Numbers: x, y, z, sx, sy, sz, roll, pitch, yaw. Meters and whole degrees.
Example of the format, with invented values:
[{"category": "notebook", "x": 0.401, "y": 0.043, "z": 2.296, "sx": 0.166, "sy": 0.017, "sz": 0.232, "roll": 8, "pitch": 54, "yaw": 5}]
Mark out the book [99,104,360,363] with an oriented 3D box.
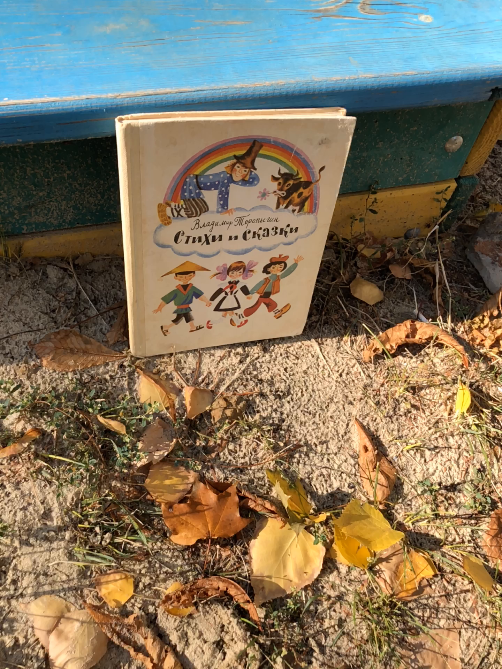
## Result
[{"category": "book", "x": -0.020, "y": -0.072, "z": 0.448, "sx": 0.178, "sy": 0.213, "sz": 0.024, "roll": -8, "pitch": 44, "yaw": -15}]
